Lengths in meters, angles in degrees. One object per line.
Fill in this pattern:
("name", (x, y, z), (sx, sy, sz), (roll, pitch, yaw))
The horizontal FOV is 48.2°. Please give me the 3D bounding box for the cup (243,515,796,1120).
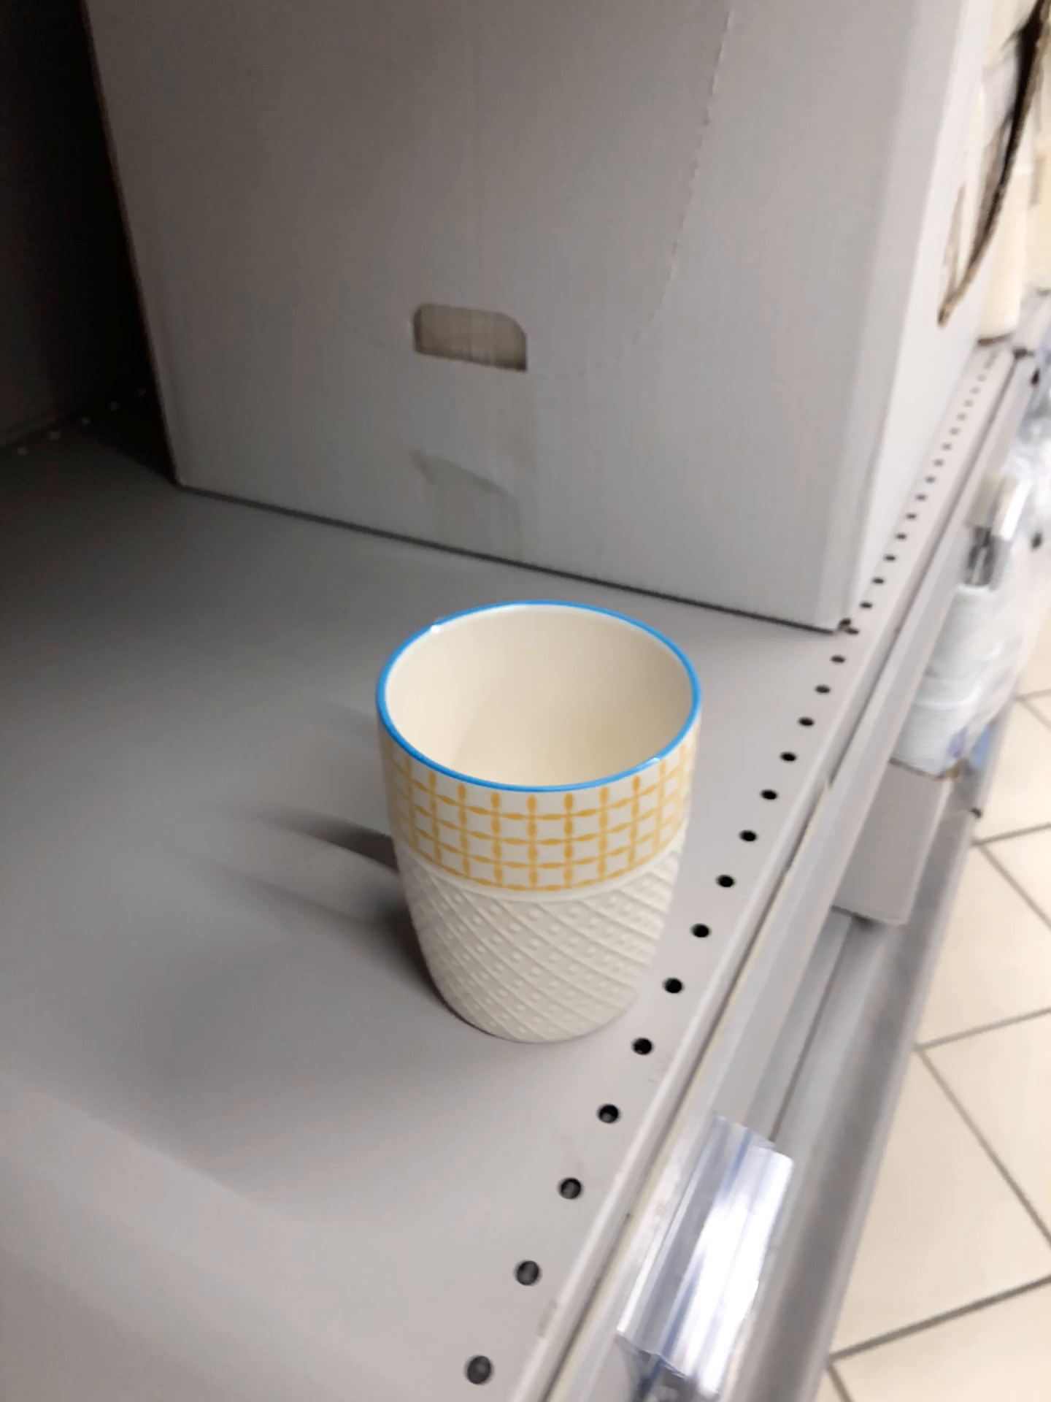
("cup", (-0.005, 0.026, 0.340), (0.106, 0.092, 0.118), (-20, 41, -19))
